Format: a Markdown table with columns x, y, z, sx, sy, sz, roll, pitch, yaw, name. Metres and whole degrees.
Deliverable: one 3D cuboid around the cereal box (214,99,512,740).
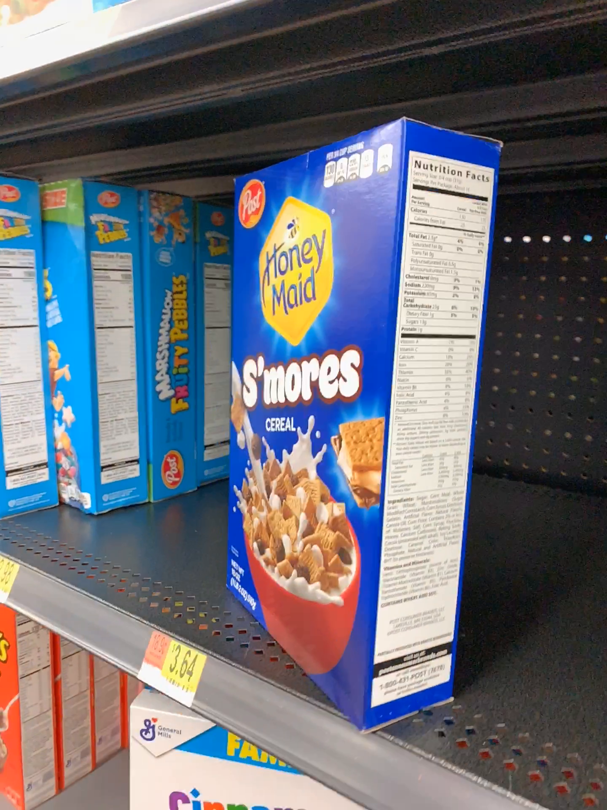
| x | y | z | sx | sy | sz | roll | pitch | yaw | name |
| --- | --- | --- | --- | --- | --- | --- | --- | --- | --- |
| 0.017 | 0.001 | 0.410 | 0.070 | 0.319 | 0.200 | -2 | 10 | -30 | cereal box |
